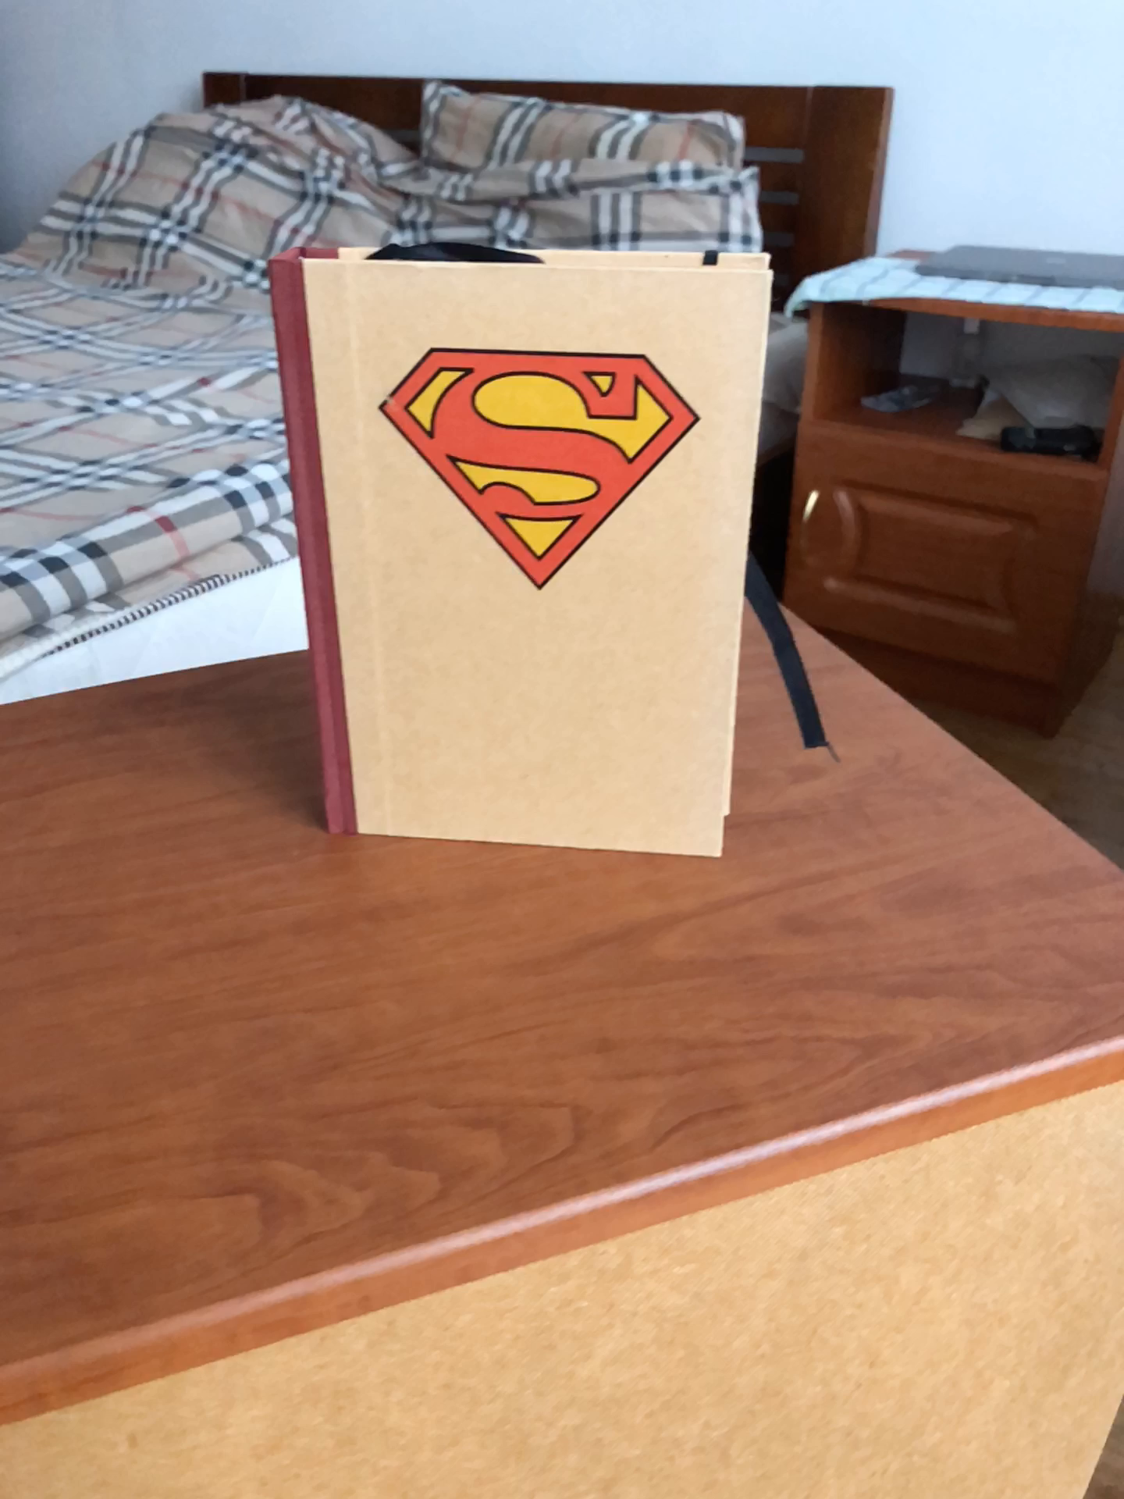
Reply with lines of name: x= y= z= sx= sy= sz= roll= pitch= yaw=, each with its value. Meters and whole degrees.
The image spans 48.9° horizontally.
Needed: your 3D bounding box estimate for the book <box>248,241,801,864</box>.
book: x=-0.010 y=-0.062 z=0.426 sx=0.162 sy=0.203 sz=0.041 roll=3 pitch=29 yaw=5
